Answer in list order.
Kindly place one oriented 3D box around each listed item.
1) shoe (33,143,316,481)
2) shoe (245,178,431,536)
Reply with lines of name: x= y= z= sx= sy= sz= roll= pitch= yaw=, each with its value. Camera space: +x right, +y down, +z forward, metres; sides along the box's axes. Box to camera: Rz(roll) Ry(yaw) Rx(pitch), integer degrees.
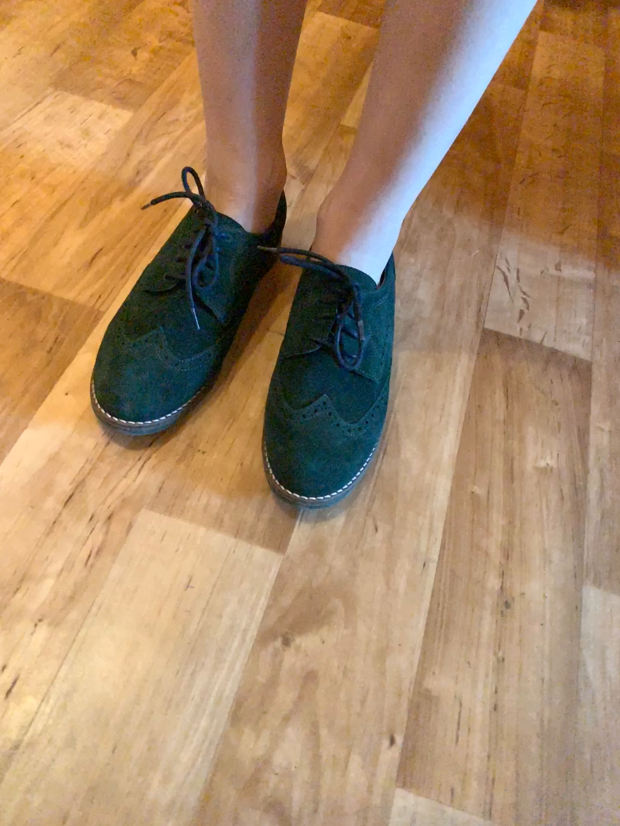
shoe: x=-0.086 y=-0.089 z=0.483 sx=0.090 sy=0.080 sz=0.261 roll=21 pitch=54 yaw=4
shoe: x=0.027 y=-0.051 z=0.460 sx=0.100 sy=0.080 sz=0.251 roll=11 pitch=55 yaw=-4
